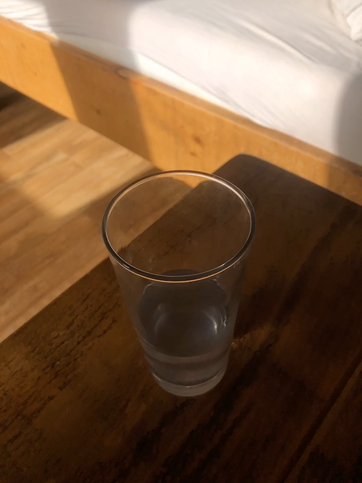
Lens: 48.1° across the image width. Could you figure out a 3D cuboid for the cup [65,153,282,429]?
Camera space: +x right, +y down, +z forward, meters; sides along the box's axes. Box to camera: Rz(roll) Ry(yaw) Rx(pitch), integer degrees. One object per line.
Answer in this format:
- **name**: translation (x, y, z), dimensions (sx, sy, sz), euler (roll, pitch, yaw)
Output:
- **cup**: translation (0.001, 0.039, 0.252), dimensions (0.077, 0.152, 0.074), euler (-1, 49, 2)
